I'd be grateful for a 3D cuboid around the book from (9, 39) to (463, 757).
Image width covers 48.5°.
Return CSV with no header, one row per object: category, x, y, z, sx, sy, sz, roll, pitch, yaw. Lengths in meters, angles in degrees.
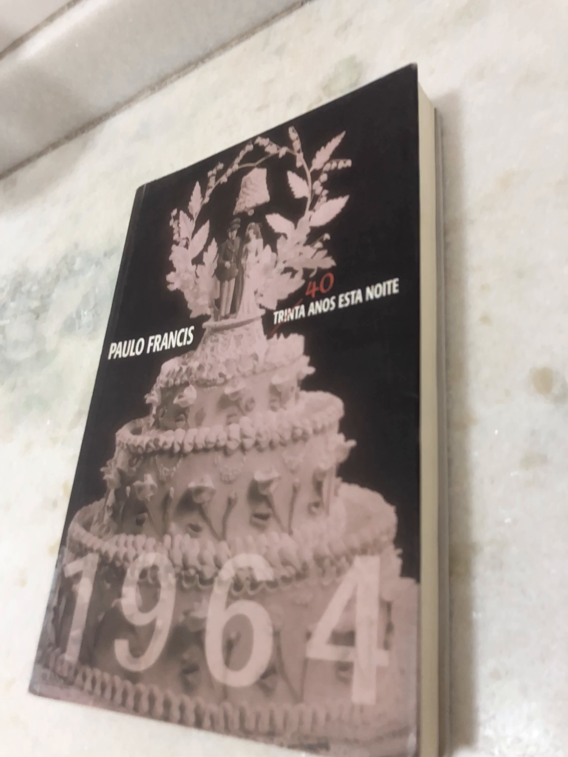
book,-0.016,0.001,0.207,0.140,0.020,0.204,-10,64,33
